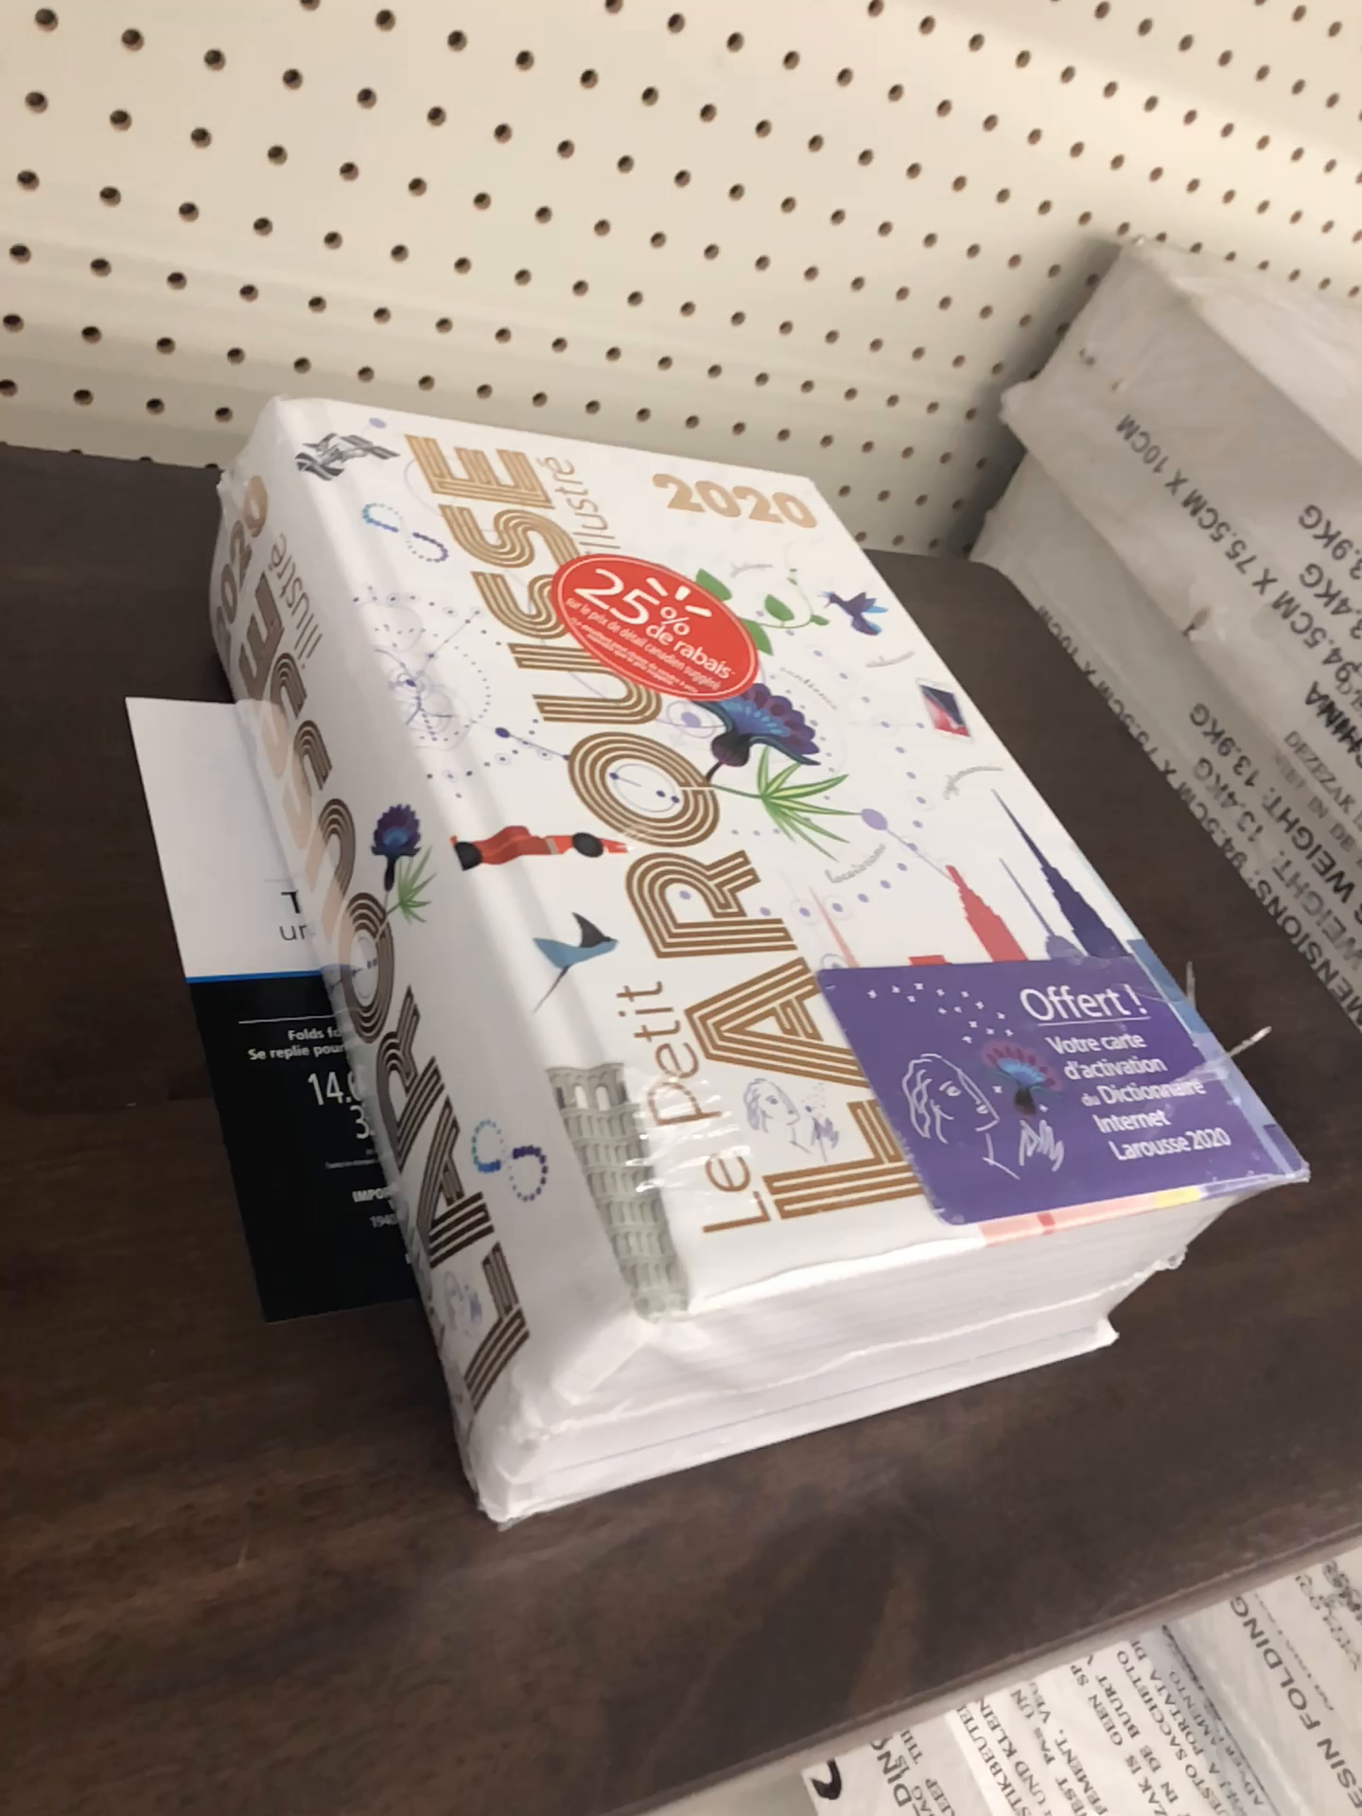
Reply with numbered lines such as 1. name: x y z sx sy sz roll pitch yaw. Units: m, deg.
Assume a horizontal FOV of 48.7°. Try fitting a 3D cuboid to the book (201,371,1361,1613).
1. book: 0.015 -0.005 0.317 0.171 0.069 0.231 -3 50 -33
